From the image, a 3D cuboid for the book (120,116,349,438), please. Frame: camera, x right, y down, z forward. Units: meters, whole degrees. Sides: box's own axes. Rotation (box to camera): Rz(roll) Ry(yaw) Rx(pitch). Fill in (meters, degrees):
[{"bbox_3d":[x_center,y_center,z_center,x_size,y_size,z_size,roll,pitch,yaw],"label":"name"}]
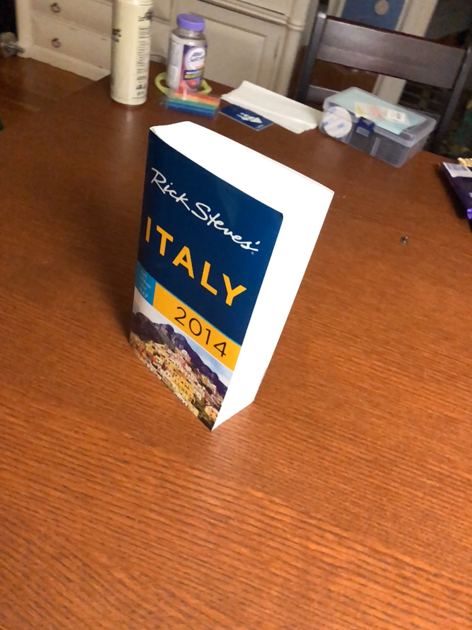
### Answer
[{"bbox_3d":[-0.017,-0.023,0.392,0.130,0.199,0.050,37,42,23],"label":"book"}]
